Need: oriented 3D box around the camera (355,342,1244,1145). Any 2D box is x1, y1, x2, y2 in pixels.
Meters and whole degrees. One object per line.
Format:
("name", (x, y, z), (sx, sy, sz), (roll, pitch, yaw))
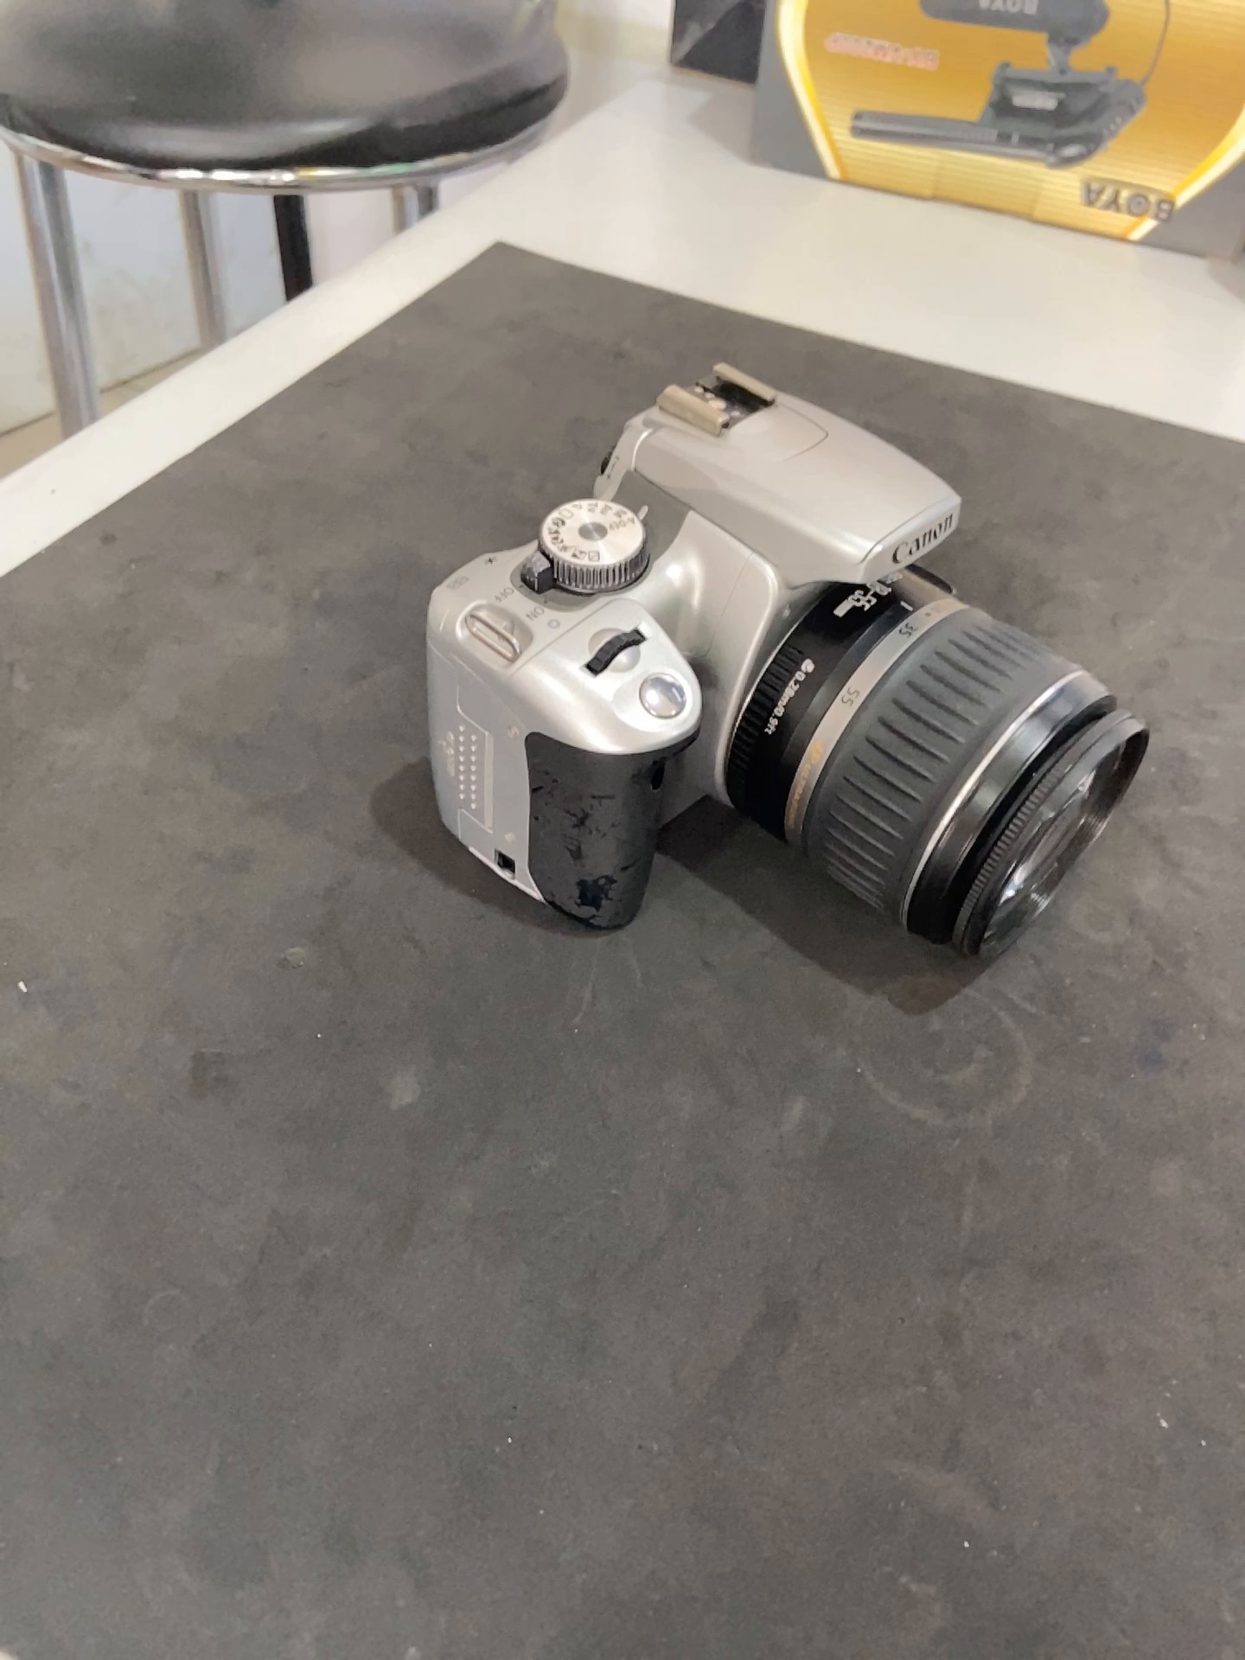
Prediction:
("camera", (0.037, -0.031, 0.291), (0.140, 0.080, 0.121), (32, 51, 25))
